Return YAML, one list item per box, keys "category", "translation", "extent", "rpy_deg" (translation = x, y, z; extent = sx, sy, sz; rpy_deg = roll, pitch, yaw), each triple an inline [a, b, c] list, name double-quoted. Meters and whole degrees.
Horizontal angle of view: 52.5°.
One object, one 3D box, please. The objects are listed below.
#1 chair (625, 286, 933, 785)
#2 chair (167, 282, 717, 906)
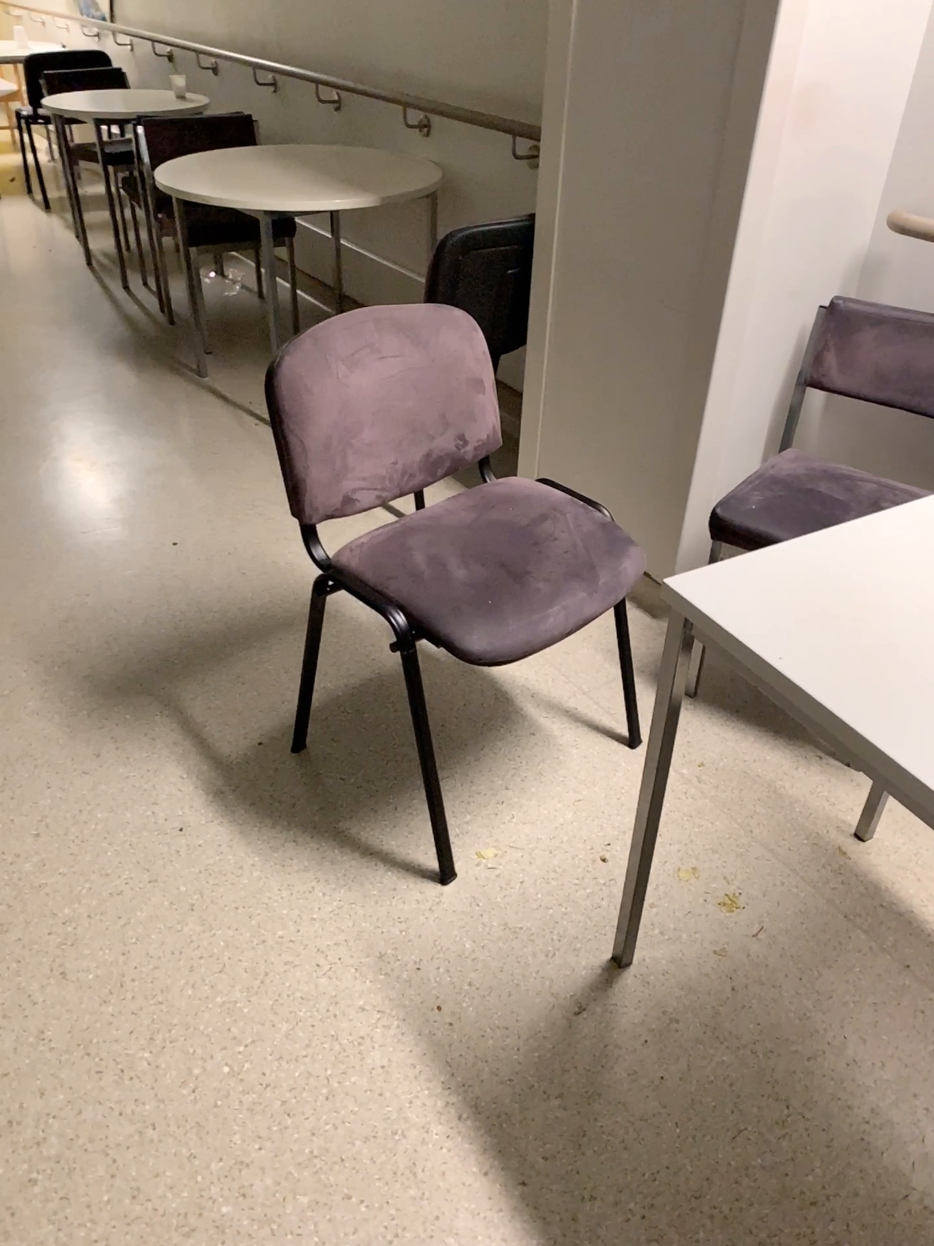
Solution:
- category: "chair"
  translation: [0.721, -0.204, 1.913]
  extent: [0.502, 0.723, 0.563]
  rpy_deg: [23, 39, 27]
- category: "chair"
  translation: [-0.052, -0.099, 1.670]
  extent: [0.603, 0.753, 0.603]
  rpy_deg: [30, 43, 34]
